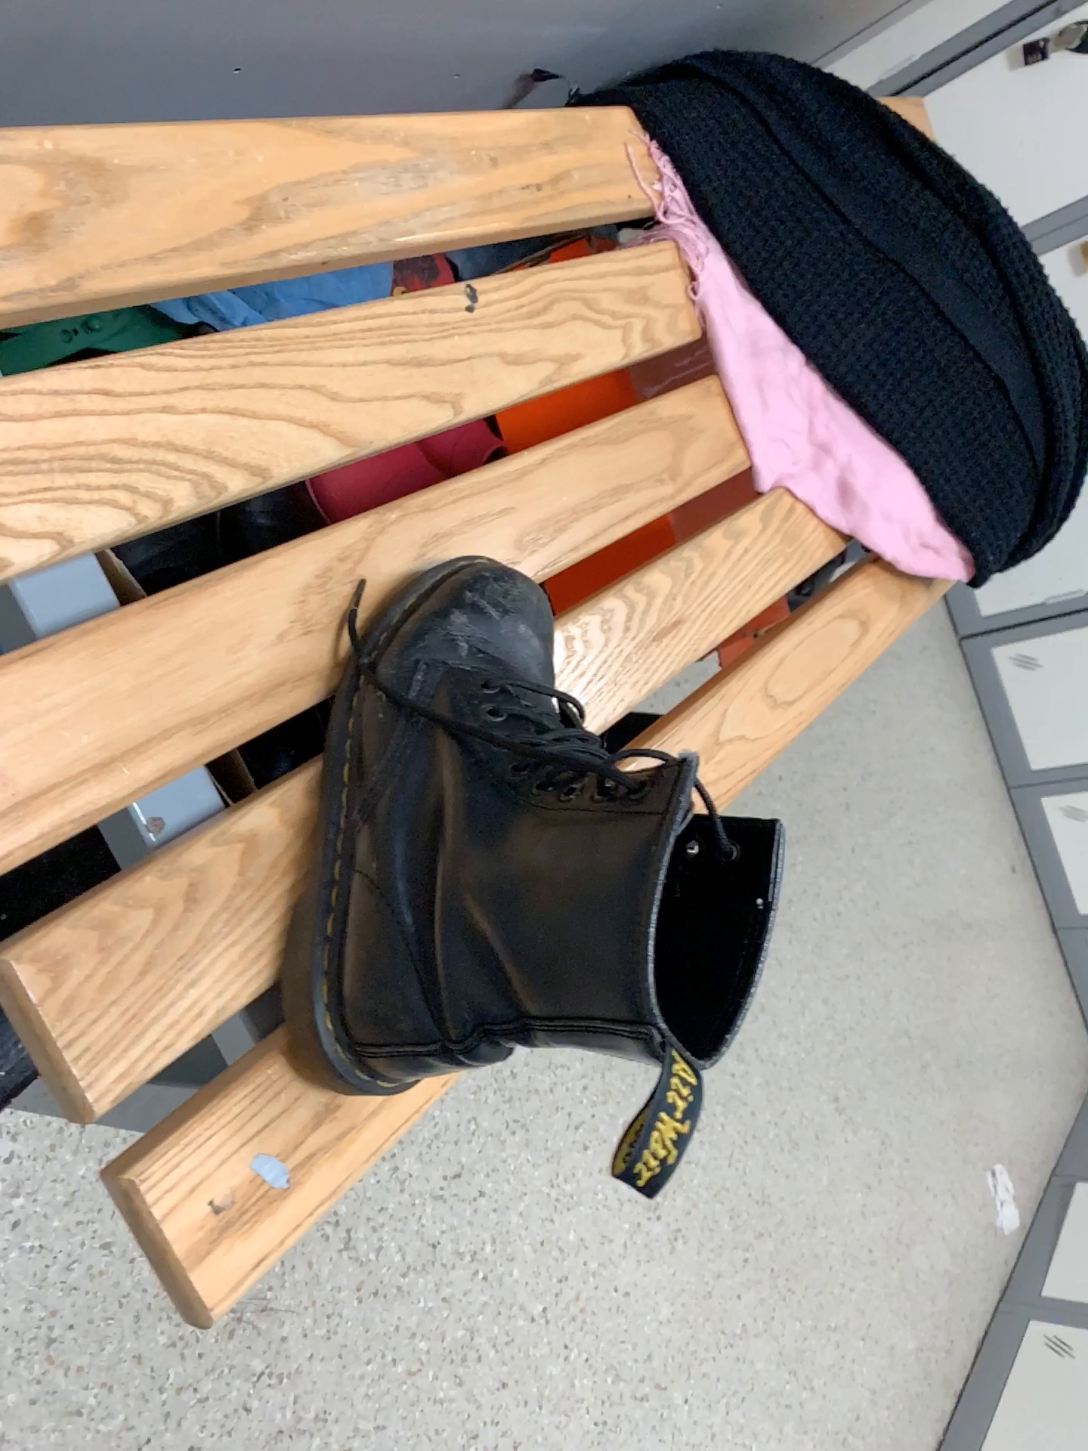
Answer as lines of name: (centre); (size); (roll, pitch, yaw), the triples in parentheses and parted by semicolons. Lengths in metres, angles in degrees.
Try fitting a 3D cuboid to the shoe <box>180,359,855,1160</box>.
shoe: (-0.003, 0.018, 0.453); (0.107, 0.199, 0.262); (36, 56, -35)
